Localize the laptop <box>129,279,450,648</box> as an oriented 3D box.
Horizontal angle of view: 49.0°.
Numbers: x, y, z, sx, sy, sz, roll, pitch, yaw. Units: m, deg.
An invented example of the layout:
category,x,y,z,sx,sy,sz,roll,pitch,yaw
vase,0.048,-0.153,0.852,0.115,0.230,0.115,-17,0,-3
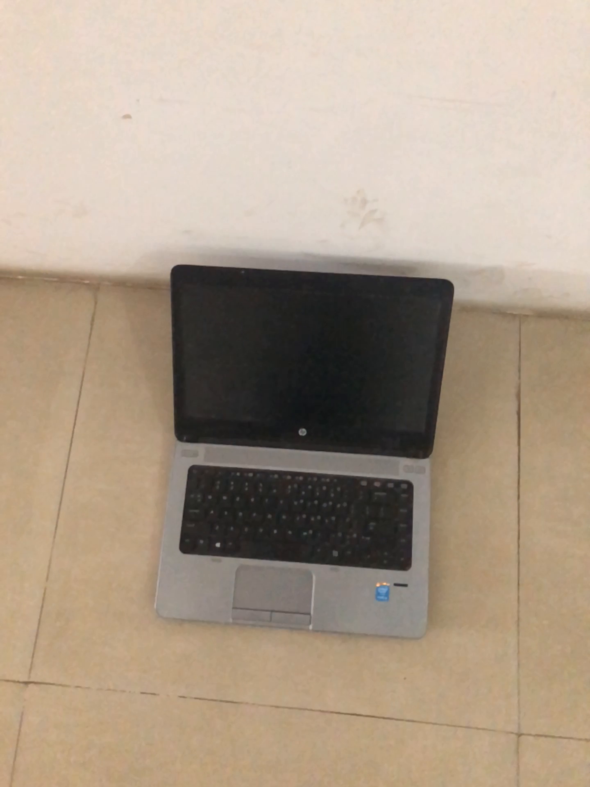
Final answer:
category,x,y,z,sx,sy,sz,roll,pitch,yaw
laptop,0.008,0.077,0.781,0.318,0.146,0.385,5,73,2
